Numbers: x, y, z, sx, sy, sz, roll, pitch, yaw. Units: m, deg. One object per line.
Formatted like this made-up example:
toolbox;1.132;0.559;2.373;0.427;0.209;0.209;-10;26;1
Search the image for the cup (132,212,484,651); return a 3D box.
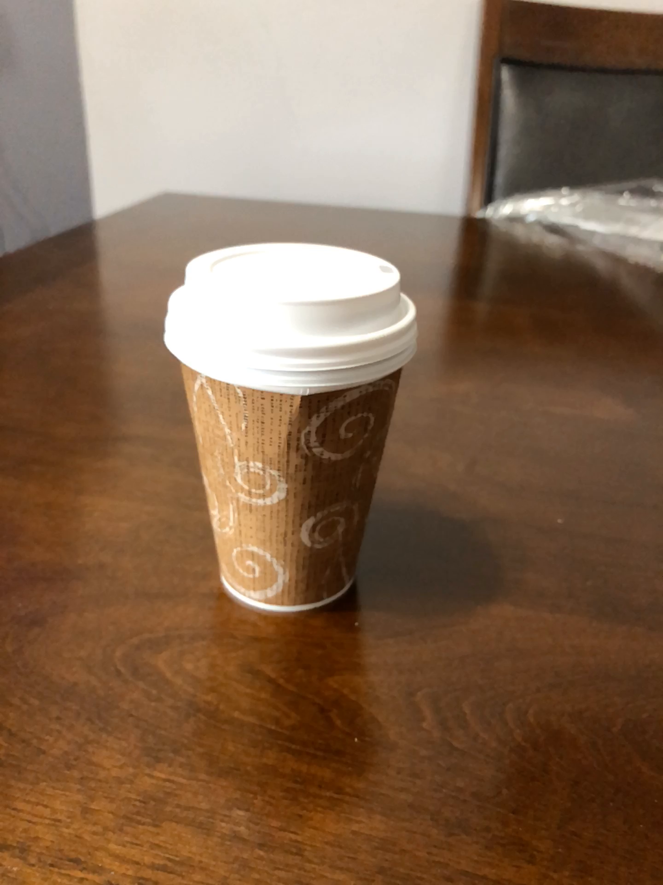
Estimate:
cup;-0.013;-0.010;0.229;0.070;0.100;0.080;-10;30;-25
